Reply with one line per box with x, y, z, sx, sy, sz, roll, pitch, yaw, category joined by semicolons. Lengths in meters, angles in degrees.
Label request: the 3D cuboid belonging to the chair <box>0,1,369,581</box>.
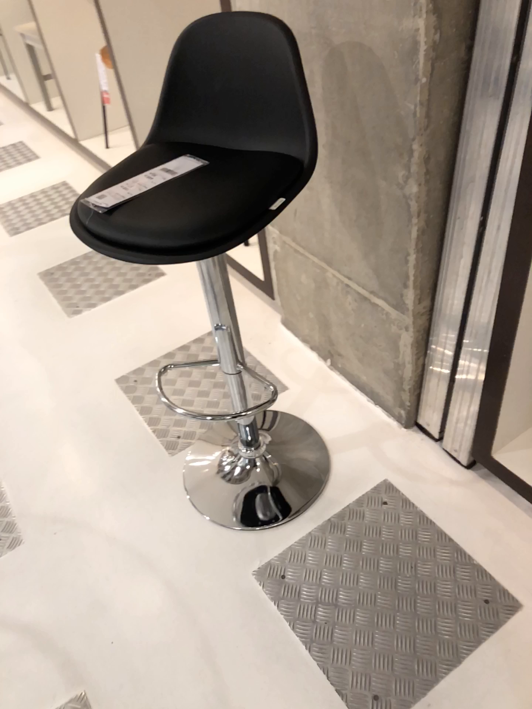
-0.092;-0.085;1.198;0.431;1.012;0.472;20;49;29;chair
